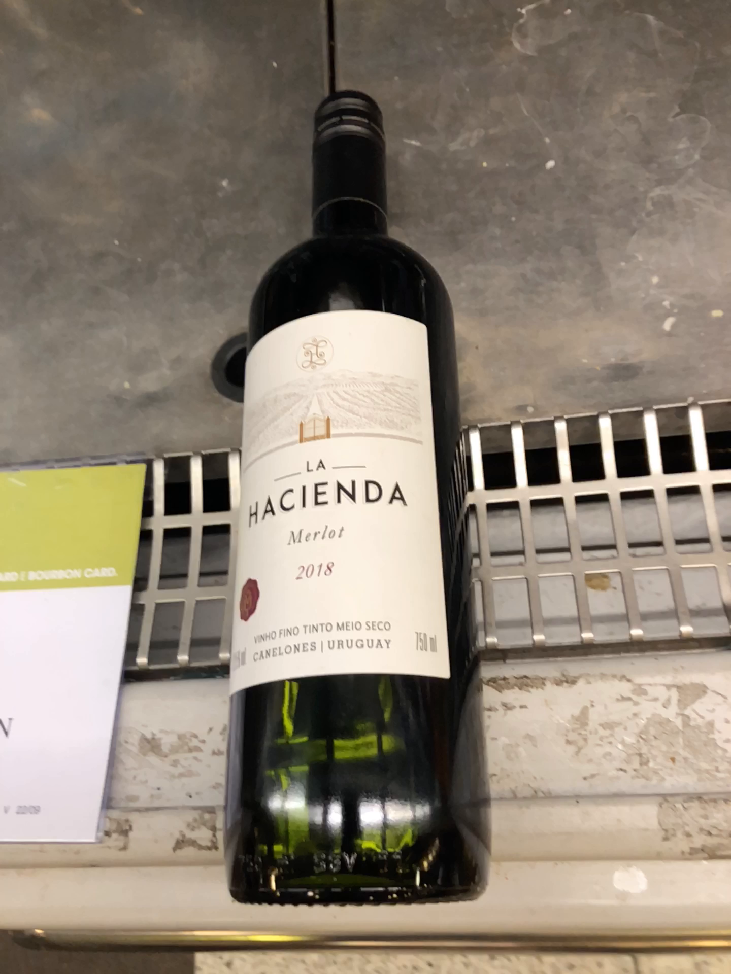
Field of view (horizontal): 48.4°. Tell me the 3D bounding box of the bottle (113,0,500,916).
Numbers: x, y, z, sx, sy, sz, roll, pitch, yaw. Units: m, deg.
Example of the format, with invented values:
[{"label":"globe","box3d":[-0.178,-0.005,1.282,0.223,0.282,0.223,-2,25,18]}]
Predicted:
[{"label":"bottle","box3d":[-0.011,-0.034,0.263,0.080,0.070,0.301,-6,65,9]}]
